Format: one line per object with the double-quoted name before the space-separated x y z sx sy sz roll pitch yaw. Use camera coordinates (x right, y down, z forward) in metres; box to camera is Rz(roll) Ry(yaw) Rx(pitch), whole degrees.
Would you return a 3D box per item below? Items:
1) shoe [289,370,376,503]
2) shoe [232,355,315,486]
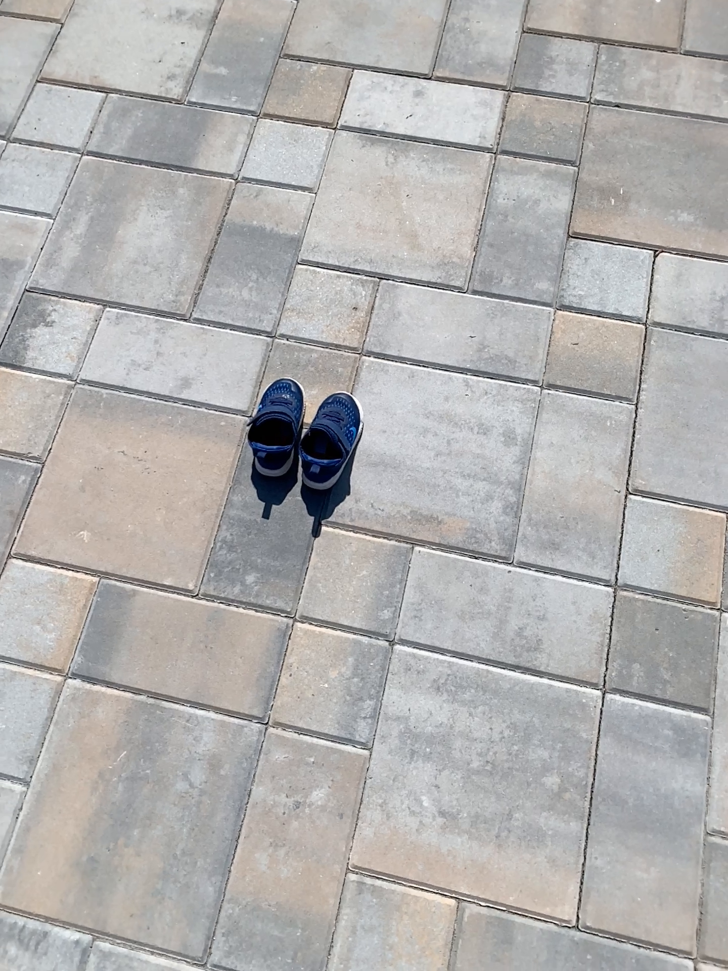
"shoe" -0.045 -0.075 1.153 0.090 0.090 0.170 13 72 5
"shoe" -0.136 -0.099 1.139 0.090 0.090 0.170 6 71 3
